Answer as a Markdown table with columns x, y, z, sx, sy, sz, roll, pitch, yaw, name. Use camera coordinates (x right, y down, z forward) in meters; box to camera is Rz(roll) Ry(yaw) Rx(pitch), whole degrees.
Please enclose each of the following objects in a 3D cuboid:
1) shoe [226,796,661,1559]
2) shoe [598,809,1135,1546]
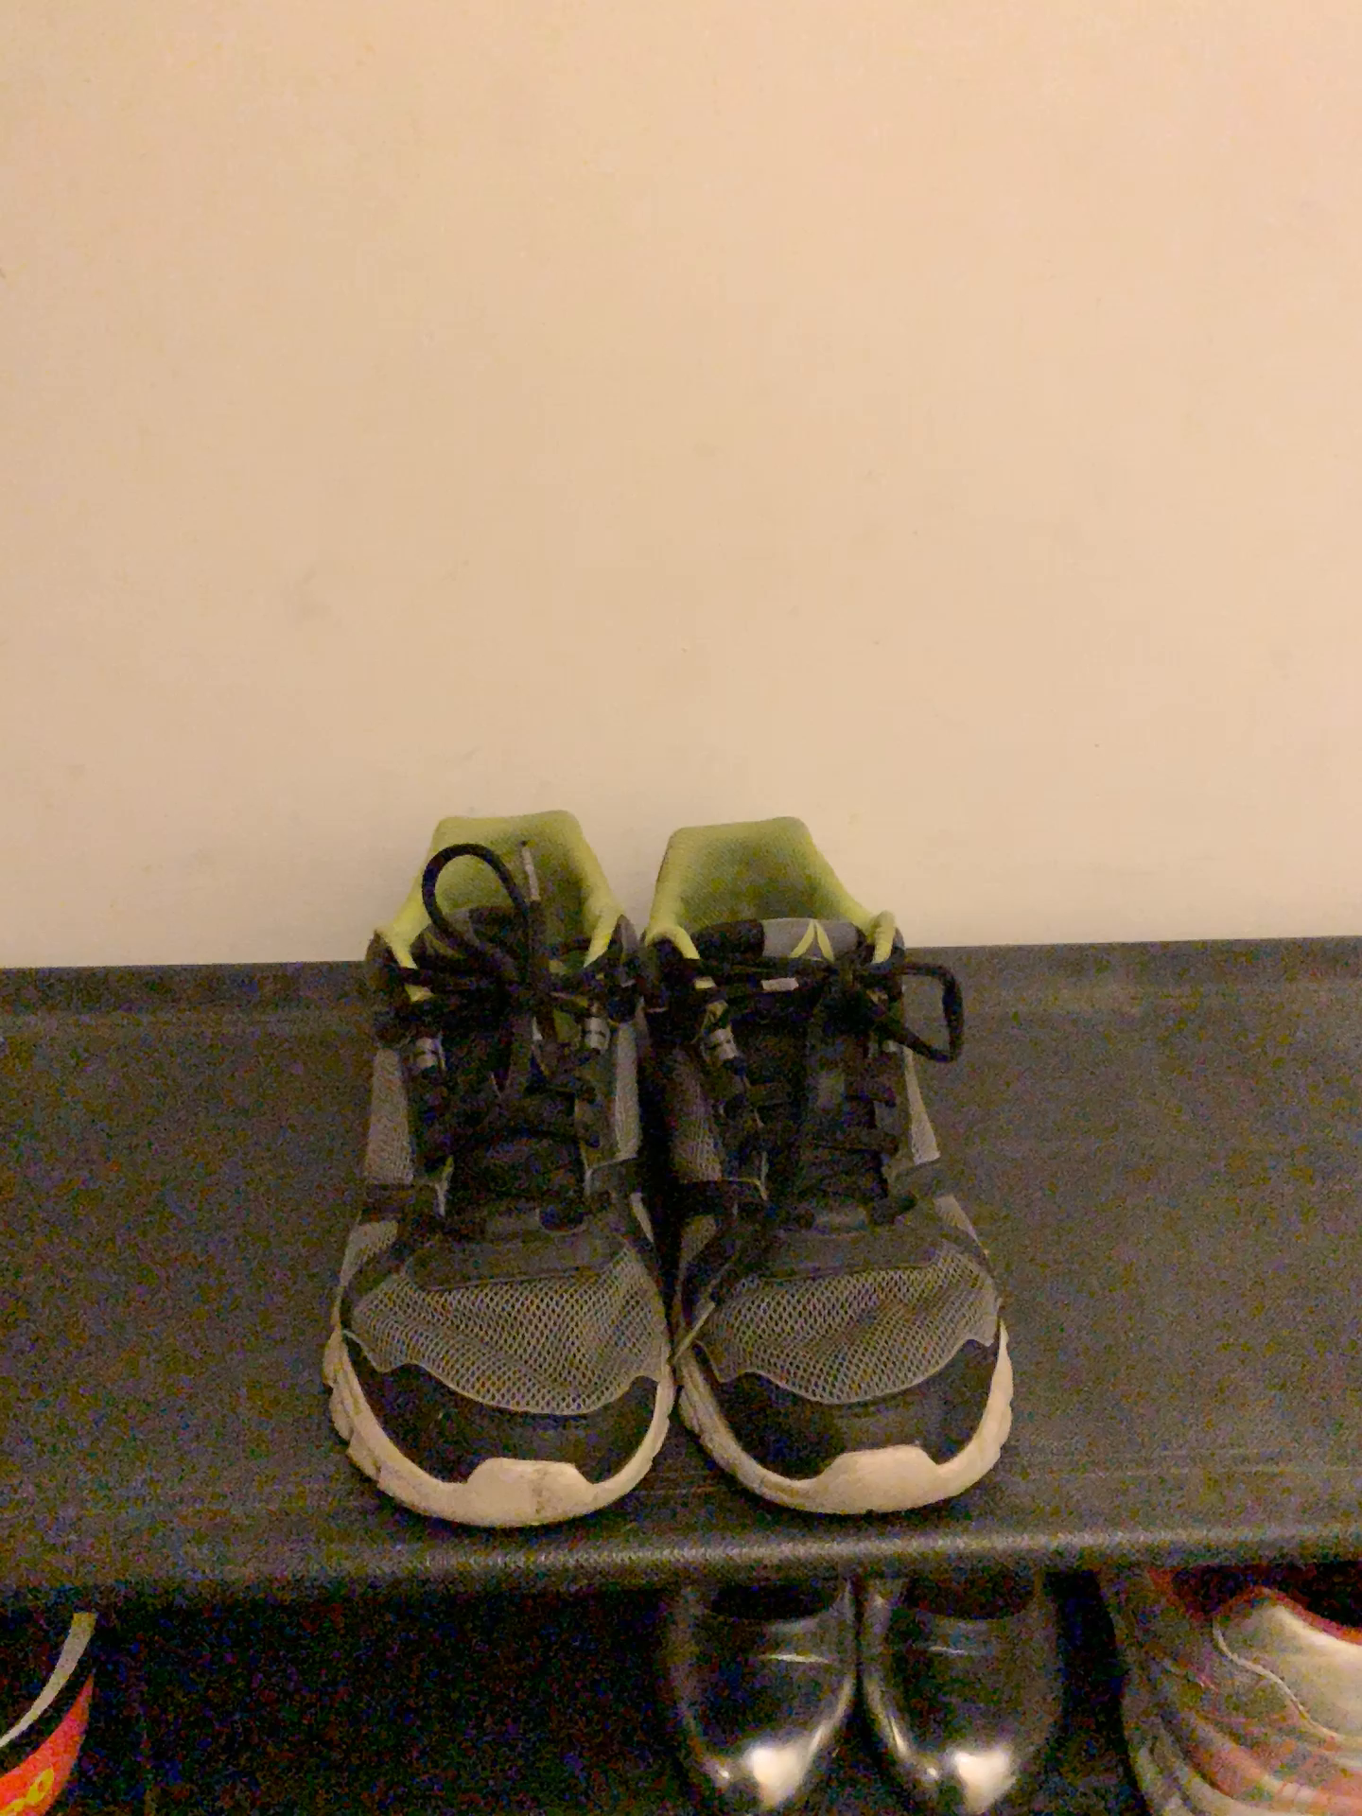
| x | y | z | sx | sy | sz | roll | pitch | yaw | name |
| --- | --- | --- | --- | --- | --- | --- | --- | --- | --- |
| -0.064 | 0.064 | 0.458 | 0.100 | 0.099 | 0.252 | -2 | 30 | -4 | shoe |
| 0.036 | 0.060 | 0.448 | 0.110 | 0.069 | 0.262 | -2 | 30 | -6 | shoe |
